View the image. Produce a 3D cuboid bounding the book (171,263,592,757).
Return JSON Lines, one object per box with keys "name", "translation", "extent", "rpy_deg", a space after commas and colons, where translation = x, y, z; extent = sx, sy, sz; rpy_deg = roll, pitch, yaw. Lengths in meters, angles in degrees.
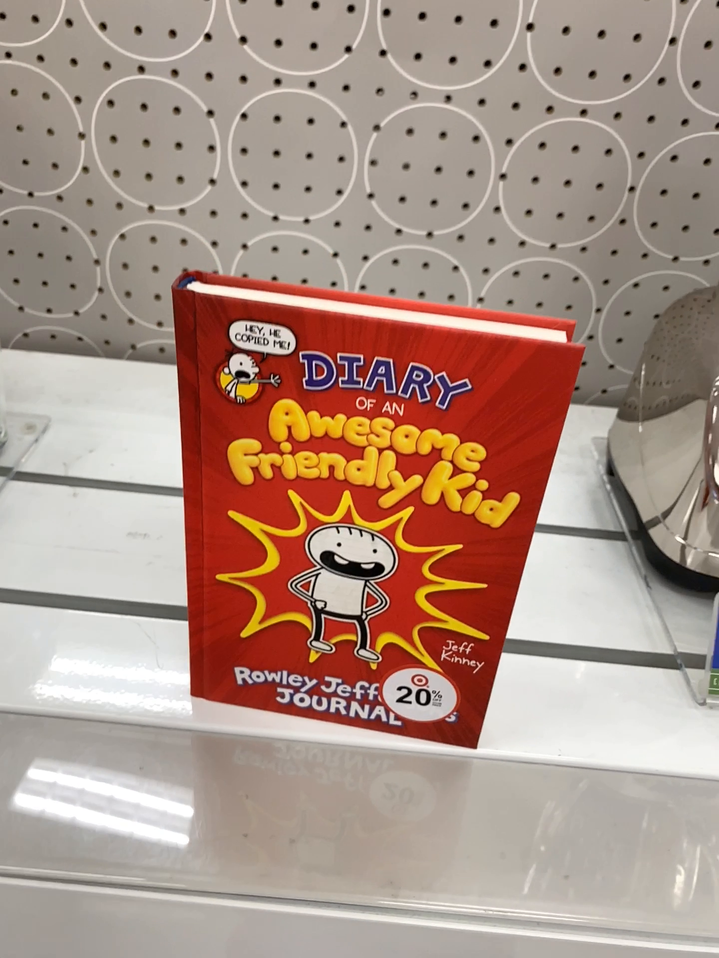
{"name": "book", "translation": [-0.001, 0.026, 0.314], "extent": [0.140, 0.209, 0.030], "rpy_deg": [8, 32, 3]}
